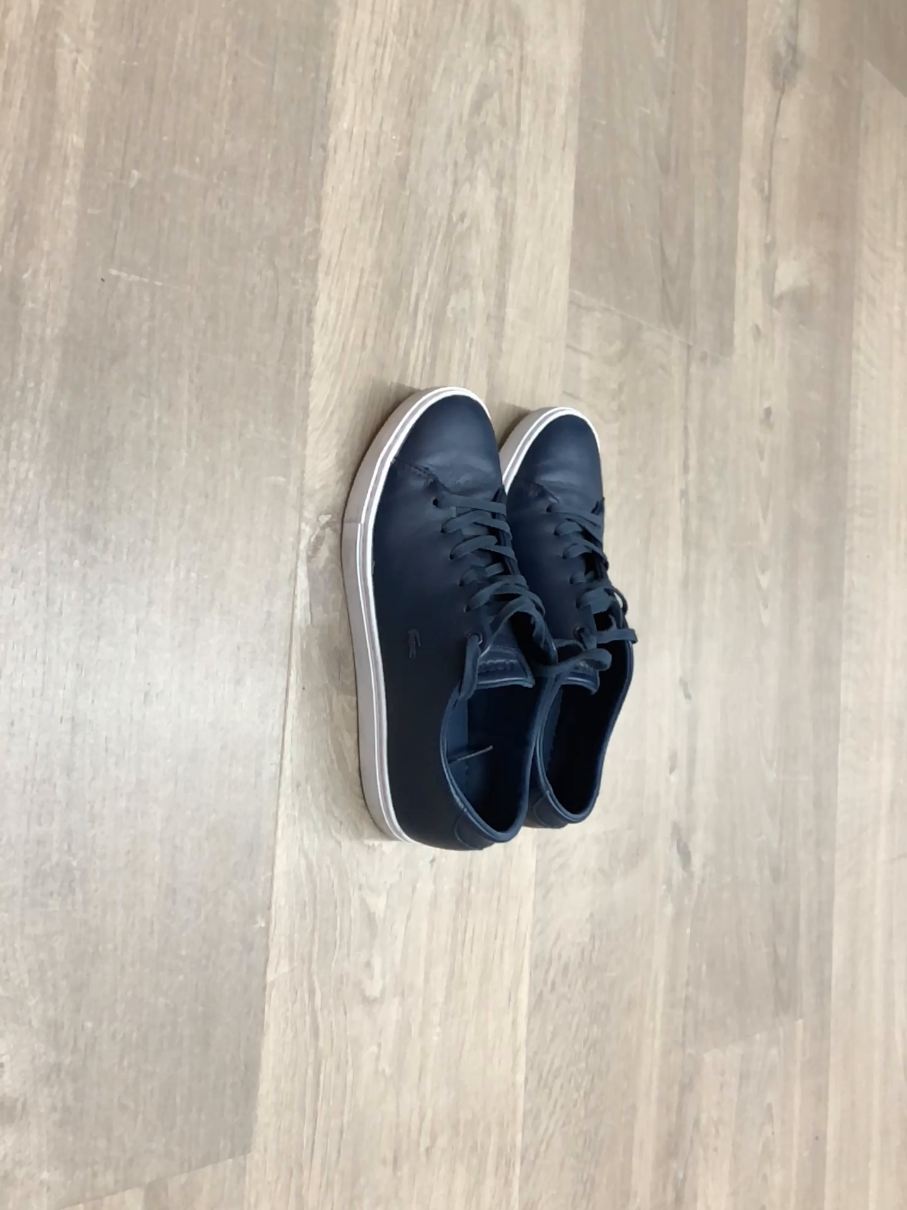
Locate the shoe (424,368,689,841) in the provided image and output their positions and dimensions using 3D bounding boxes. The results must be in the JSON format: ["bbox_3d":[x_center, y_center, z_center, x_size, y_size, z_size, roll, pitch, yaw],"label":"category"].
[{"bbox_3d":[0.063,0.004,0.581,0.100,0.080,0.247,14,80,-41],"label":"shoe"}]

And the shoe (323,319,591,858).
[{"bbox_3d":[0.003,-0.006,0.519,0.100,0.080,0.247,6,86,-42],"label":"shoe"}]
